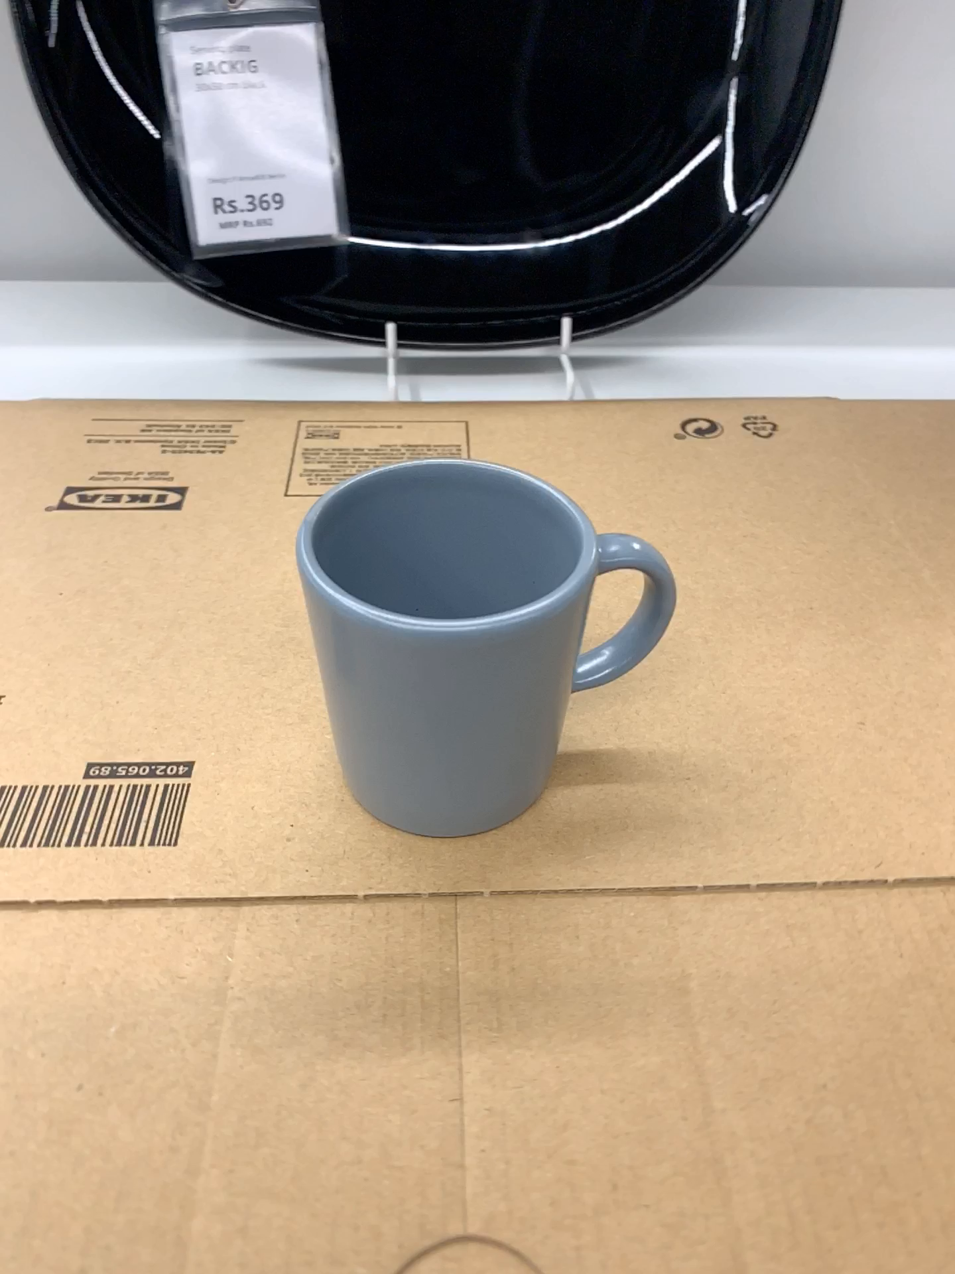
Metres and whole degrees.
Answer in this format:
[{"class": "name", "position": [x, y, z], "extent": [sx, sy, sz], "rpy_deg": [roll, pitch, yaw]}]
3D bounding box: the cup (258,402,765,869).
[{"class": "cup", "position": [0.002, -0.004, 0.203], "extent": [0.080, 0.060, 0.060], "rpy_deg": [-9, 39, -14]}]
